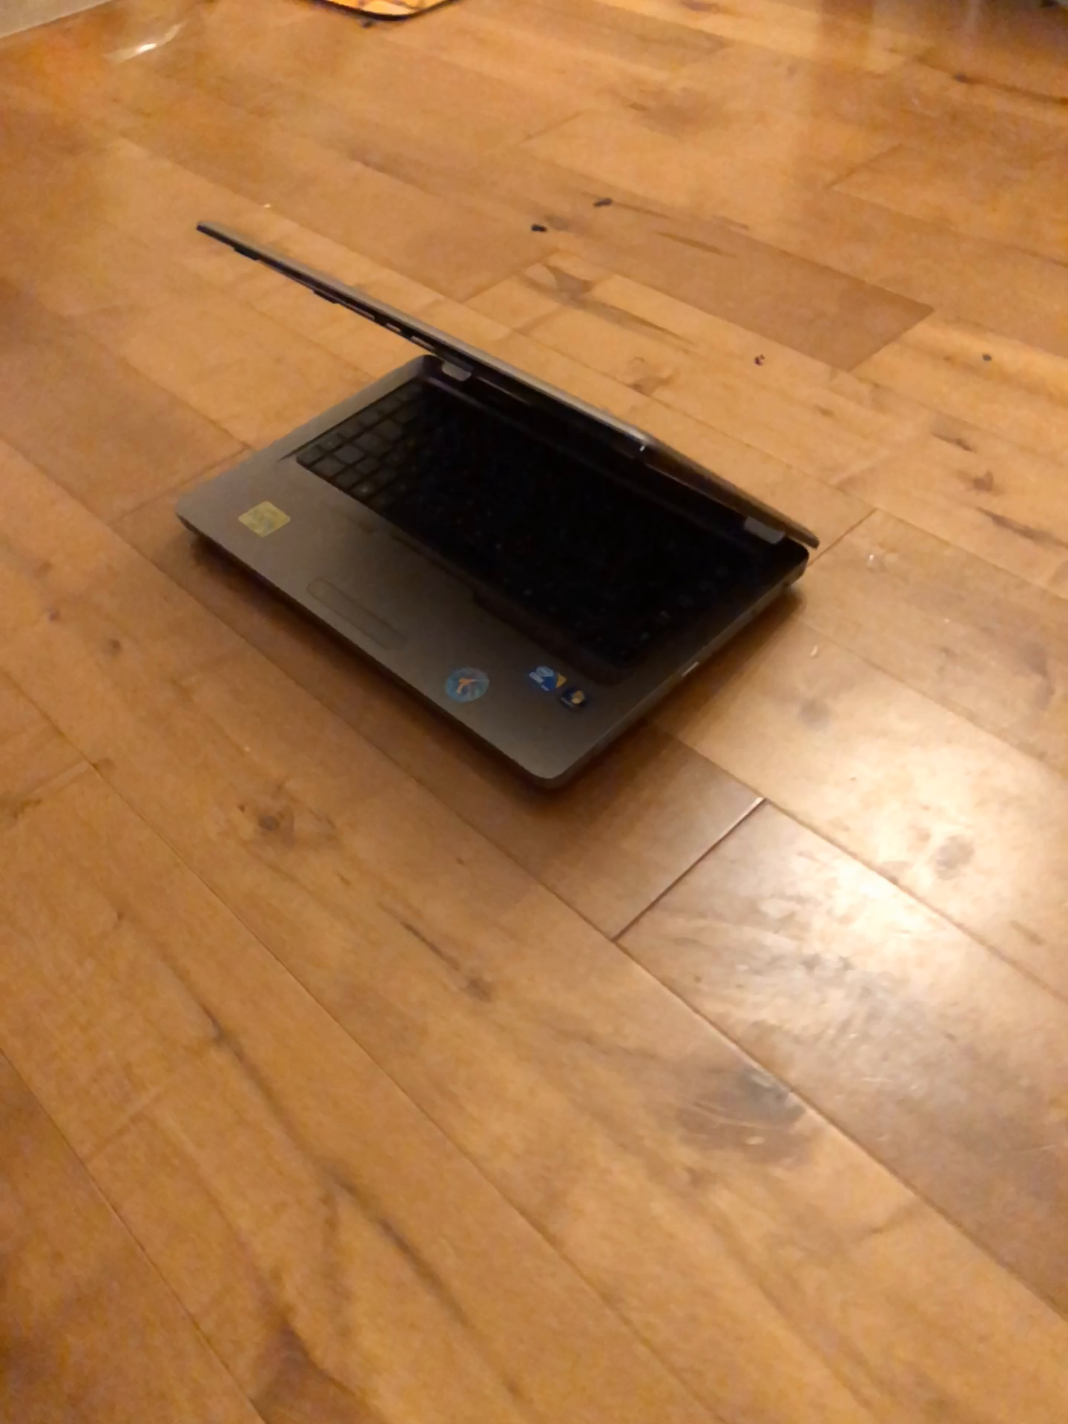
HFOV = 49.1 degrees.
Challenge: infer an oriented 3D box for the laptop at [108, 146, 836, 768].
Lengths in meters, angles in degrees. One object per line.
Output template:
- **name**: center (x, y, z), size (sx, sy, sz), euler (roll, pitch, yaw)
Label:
- **laptop**: center (-0.042, -0.173, 0.708), size (0.347, 0.164, 0.223), euler (35, 60, 30)
